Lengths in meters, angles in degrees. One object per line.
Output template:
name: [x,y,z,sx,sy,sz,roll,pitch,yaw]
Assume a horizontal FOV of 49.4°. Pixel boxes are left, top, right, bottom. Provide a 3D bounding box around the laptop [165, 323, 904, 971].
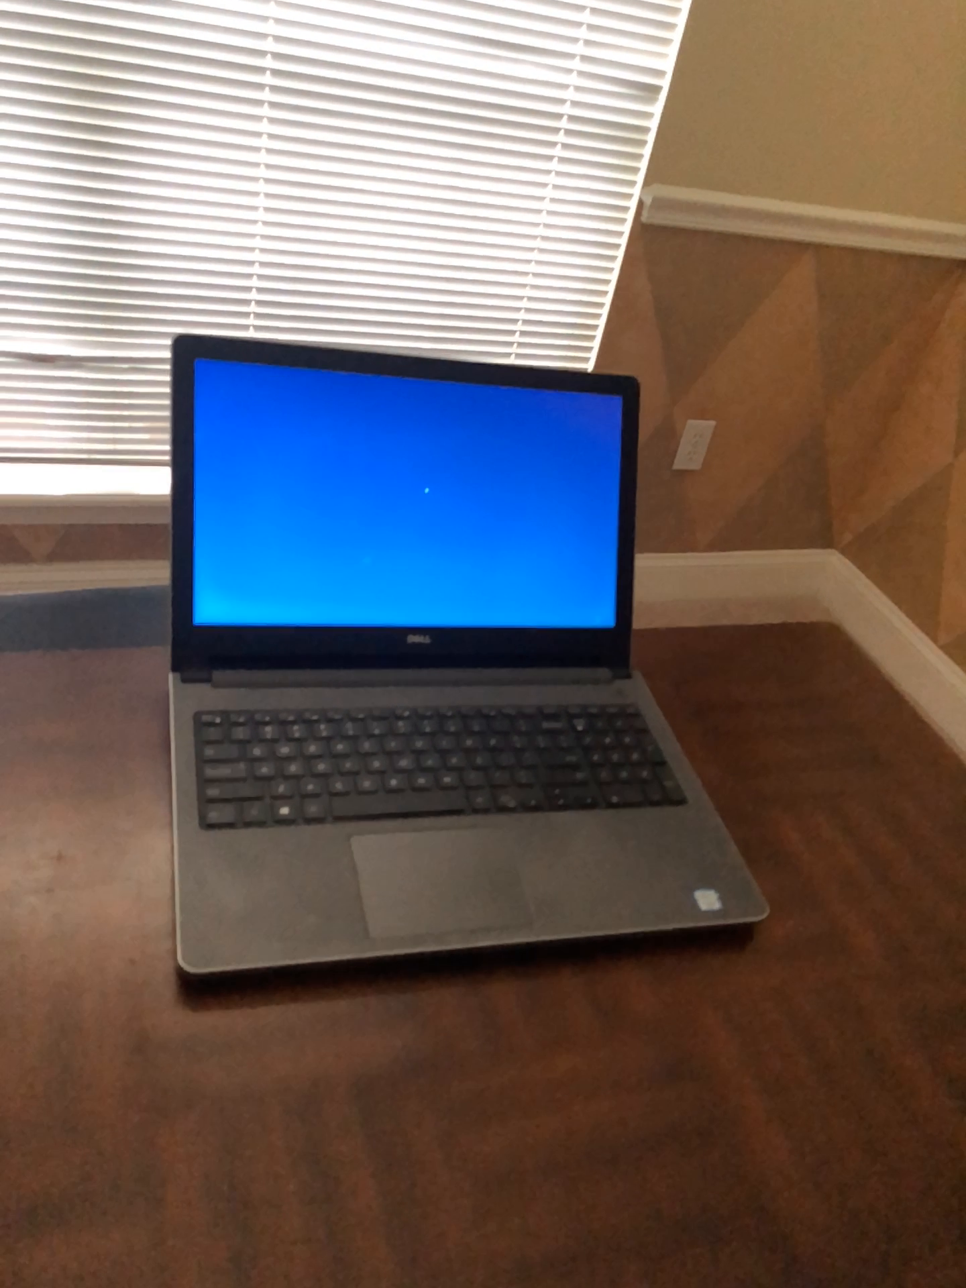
laptop: [-0.016,-0.024,0.712,0.367,0.198,0.394,0,38,-19]
